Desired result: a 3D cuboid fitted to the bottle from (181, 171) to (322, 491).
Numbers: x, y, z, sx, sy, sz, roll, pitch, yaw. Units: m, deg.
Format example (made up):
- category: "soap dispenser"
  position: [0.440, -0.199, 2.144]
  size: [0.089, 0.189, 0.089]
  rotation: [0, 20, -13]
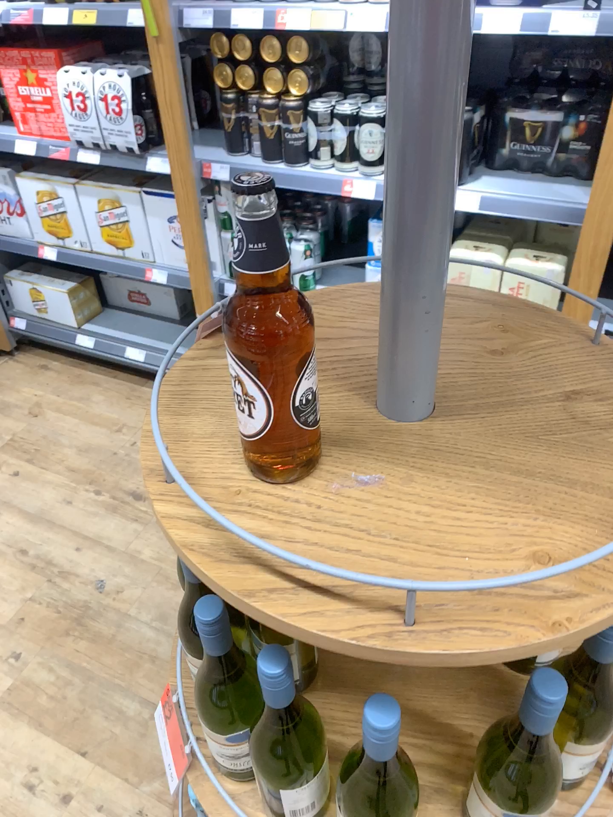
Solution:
- category: "bottle"
  position: [-0.034, -0.047, 0.472]
  size: [0.076, 0.231, 0.069]
  rotation: [-2, 39, 2]
